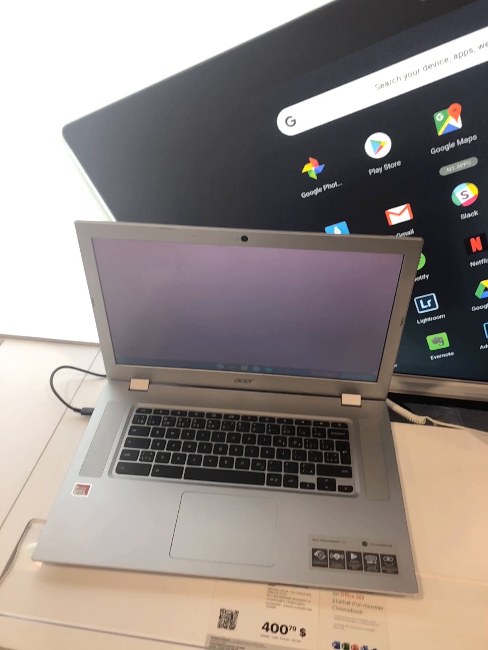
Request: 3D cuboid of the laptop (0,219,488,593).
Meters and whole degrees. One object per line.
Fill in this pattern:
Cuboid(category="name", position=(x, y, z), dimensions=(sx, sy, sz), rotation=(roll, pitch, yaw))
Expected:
Cuboid(category="laptop", position=(-0.013, 0.069, 0.557), dimensions=(0.377, 0.249, 0.265), rotation=(3, 37, 4))
